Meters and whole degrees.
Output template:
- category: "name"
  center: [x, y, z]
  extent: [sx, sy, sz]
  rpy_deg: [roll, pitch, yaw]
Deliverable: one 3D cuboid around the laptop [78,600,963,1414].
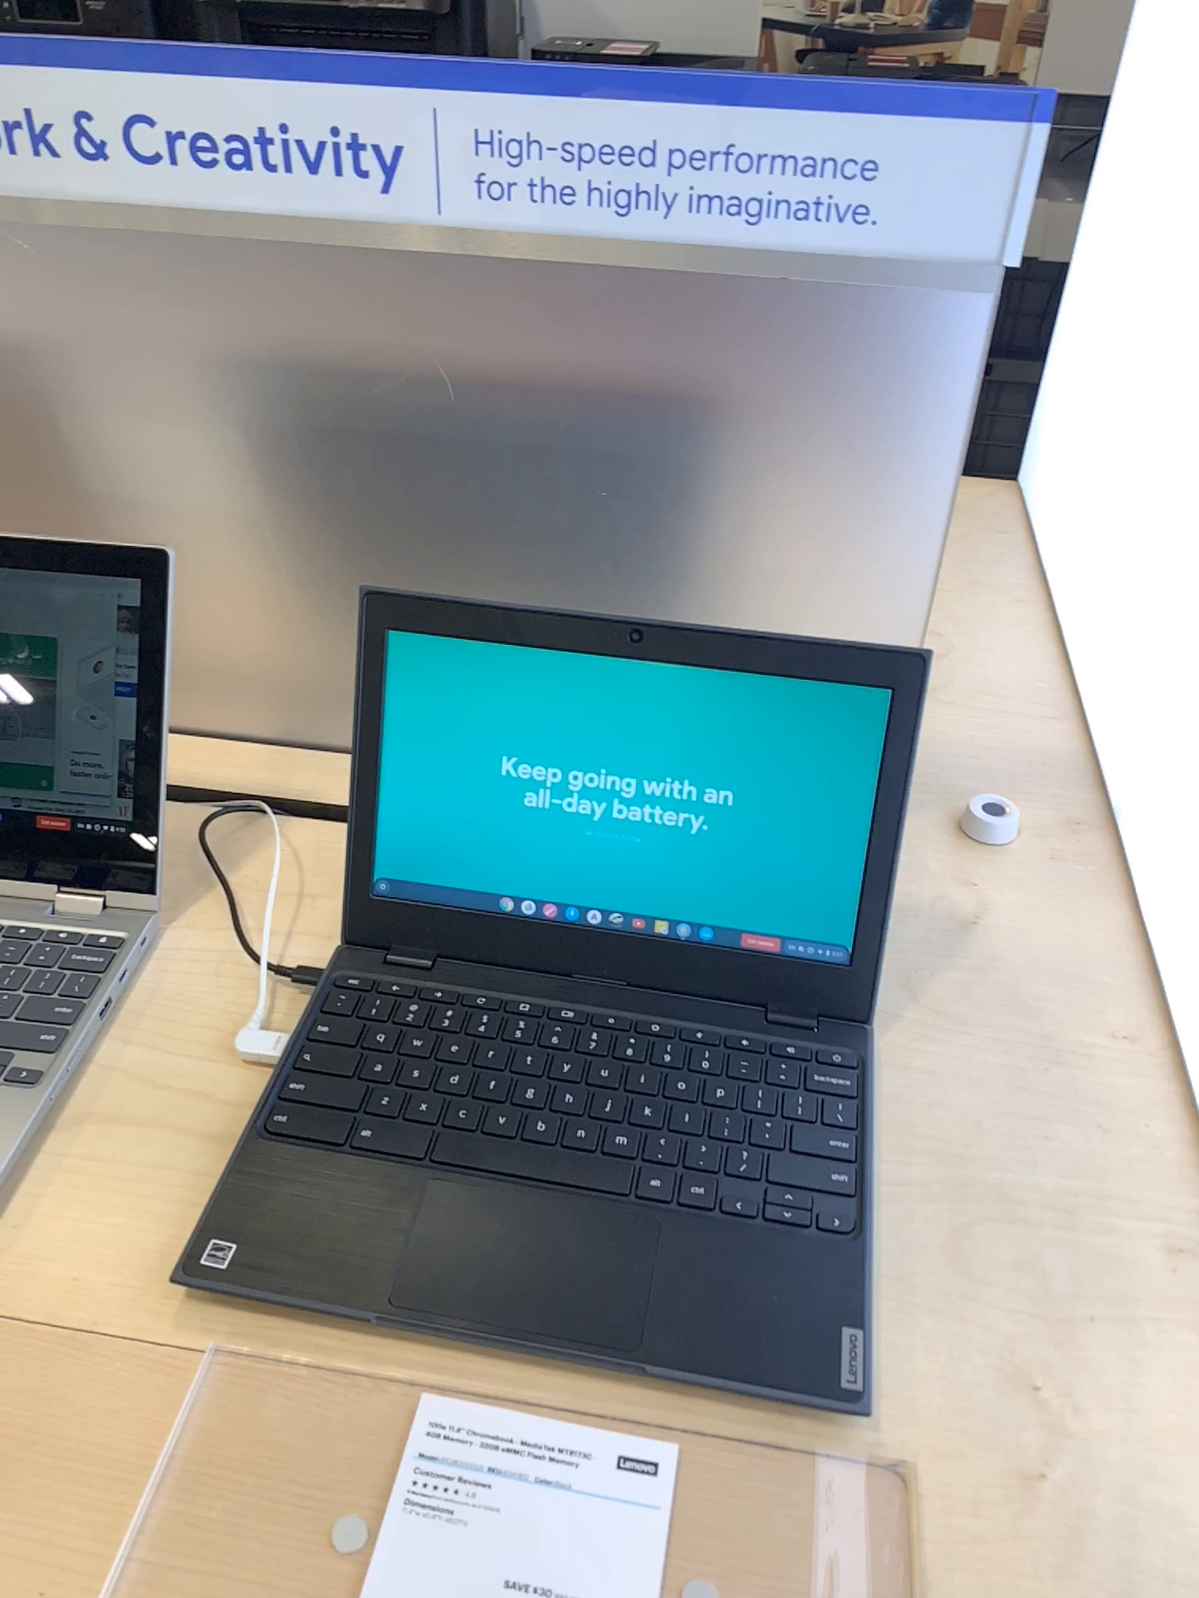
- category: "laptop"
  center: [-0.007, 0.065, 0.527]
  extent: [0.275, 0.170, 0.267]
  rpy_deg: [7, 37, 8]
